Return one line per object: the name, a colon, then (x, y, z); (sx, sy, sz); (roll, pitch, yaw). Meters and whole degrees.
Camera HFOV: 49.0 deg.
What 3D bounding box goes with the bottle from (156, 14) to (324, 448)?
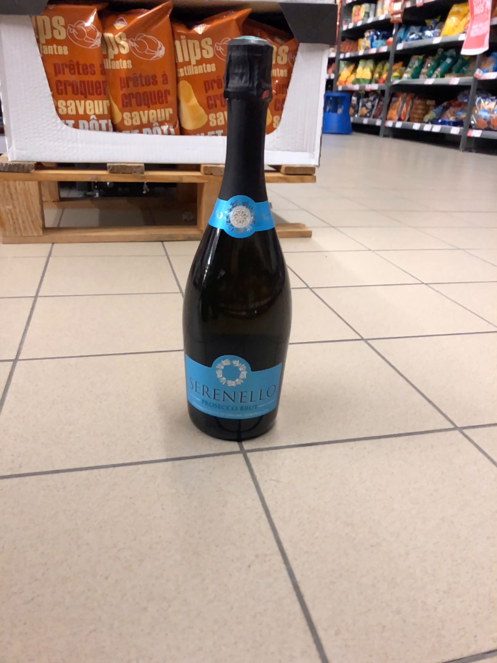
bottle: (-0.008, -0.066, 0.422); (0.100, 0.298, 0.090); (4, 22, 2)
